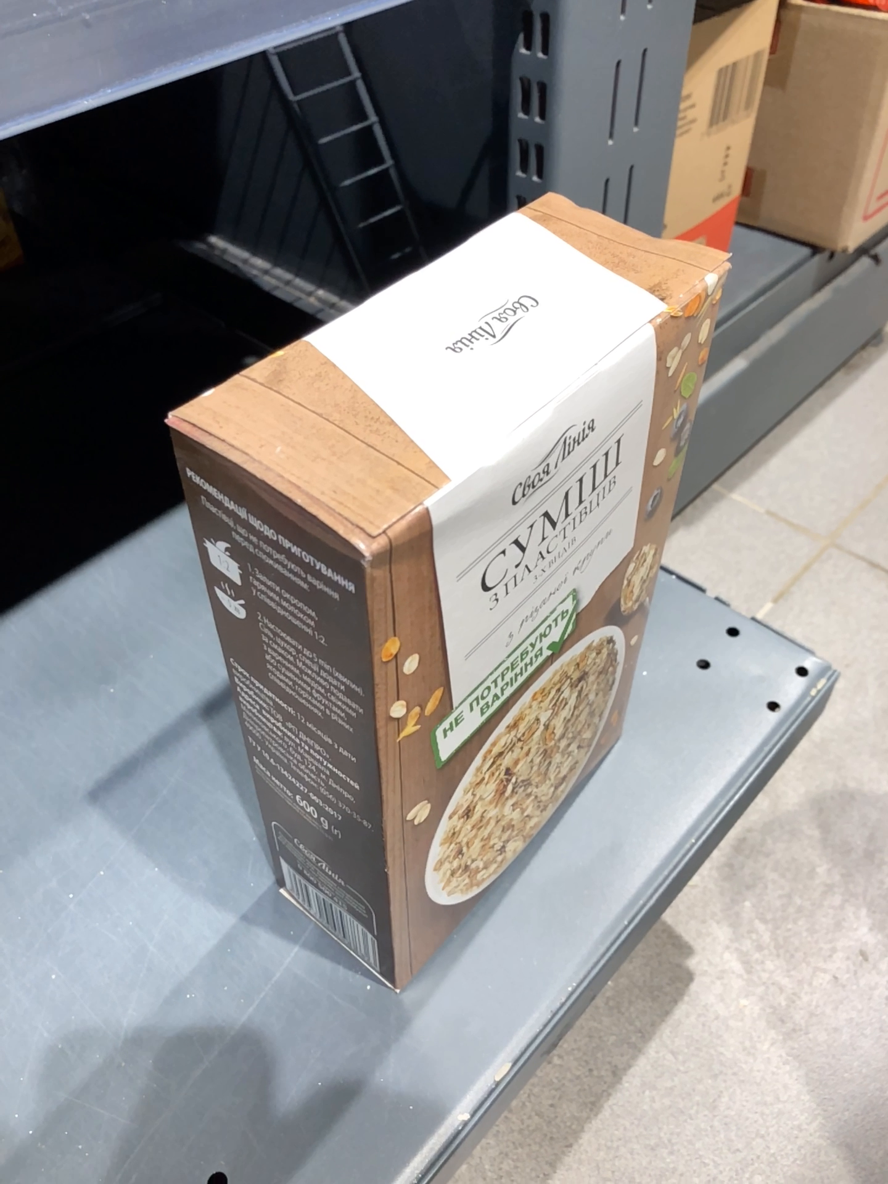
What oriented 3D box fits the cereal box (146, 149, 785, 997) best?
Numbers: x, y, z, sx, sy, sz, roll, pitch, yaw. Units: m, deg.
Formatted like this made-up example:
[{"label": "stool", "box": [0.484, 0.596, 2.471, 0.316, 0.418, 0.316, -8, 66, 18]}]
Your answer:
[{"label": "cereal box", "box": [0.014, 0.002, 0.305, 0.060, 0.208, 0.161, 32, 54, 27]}]
